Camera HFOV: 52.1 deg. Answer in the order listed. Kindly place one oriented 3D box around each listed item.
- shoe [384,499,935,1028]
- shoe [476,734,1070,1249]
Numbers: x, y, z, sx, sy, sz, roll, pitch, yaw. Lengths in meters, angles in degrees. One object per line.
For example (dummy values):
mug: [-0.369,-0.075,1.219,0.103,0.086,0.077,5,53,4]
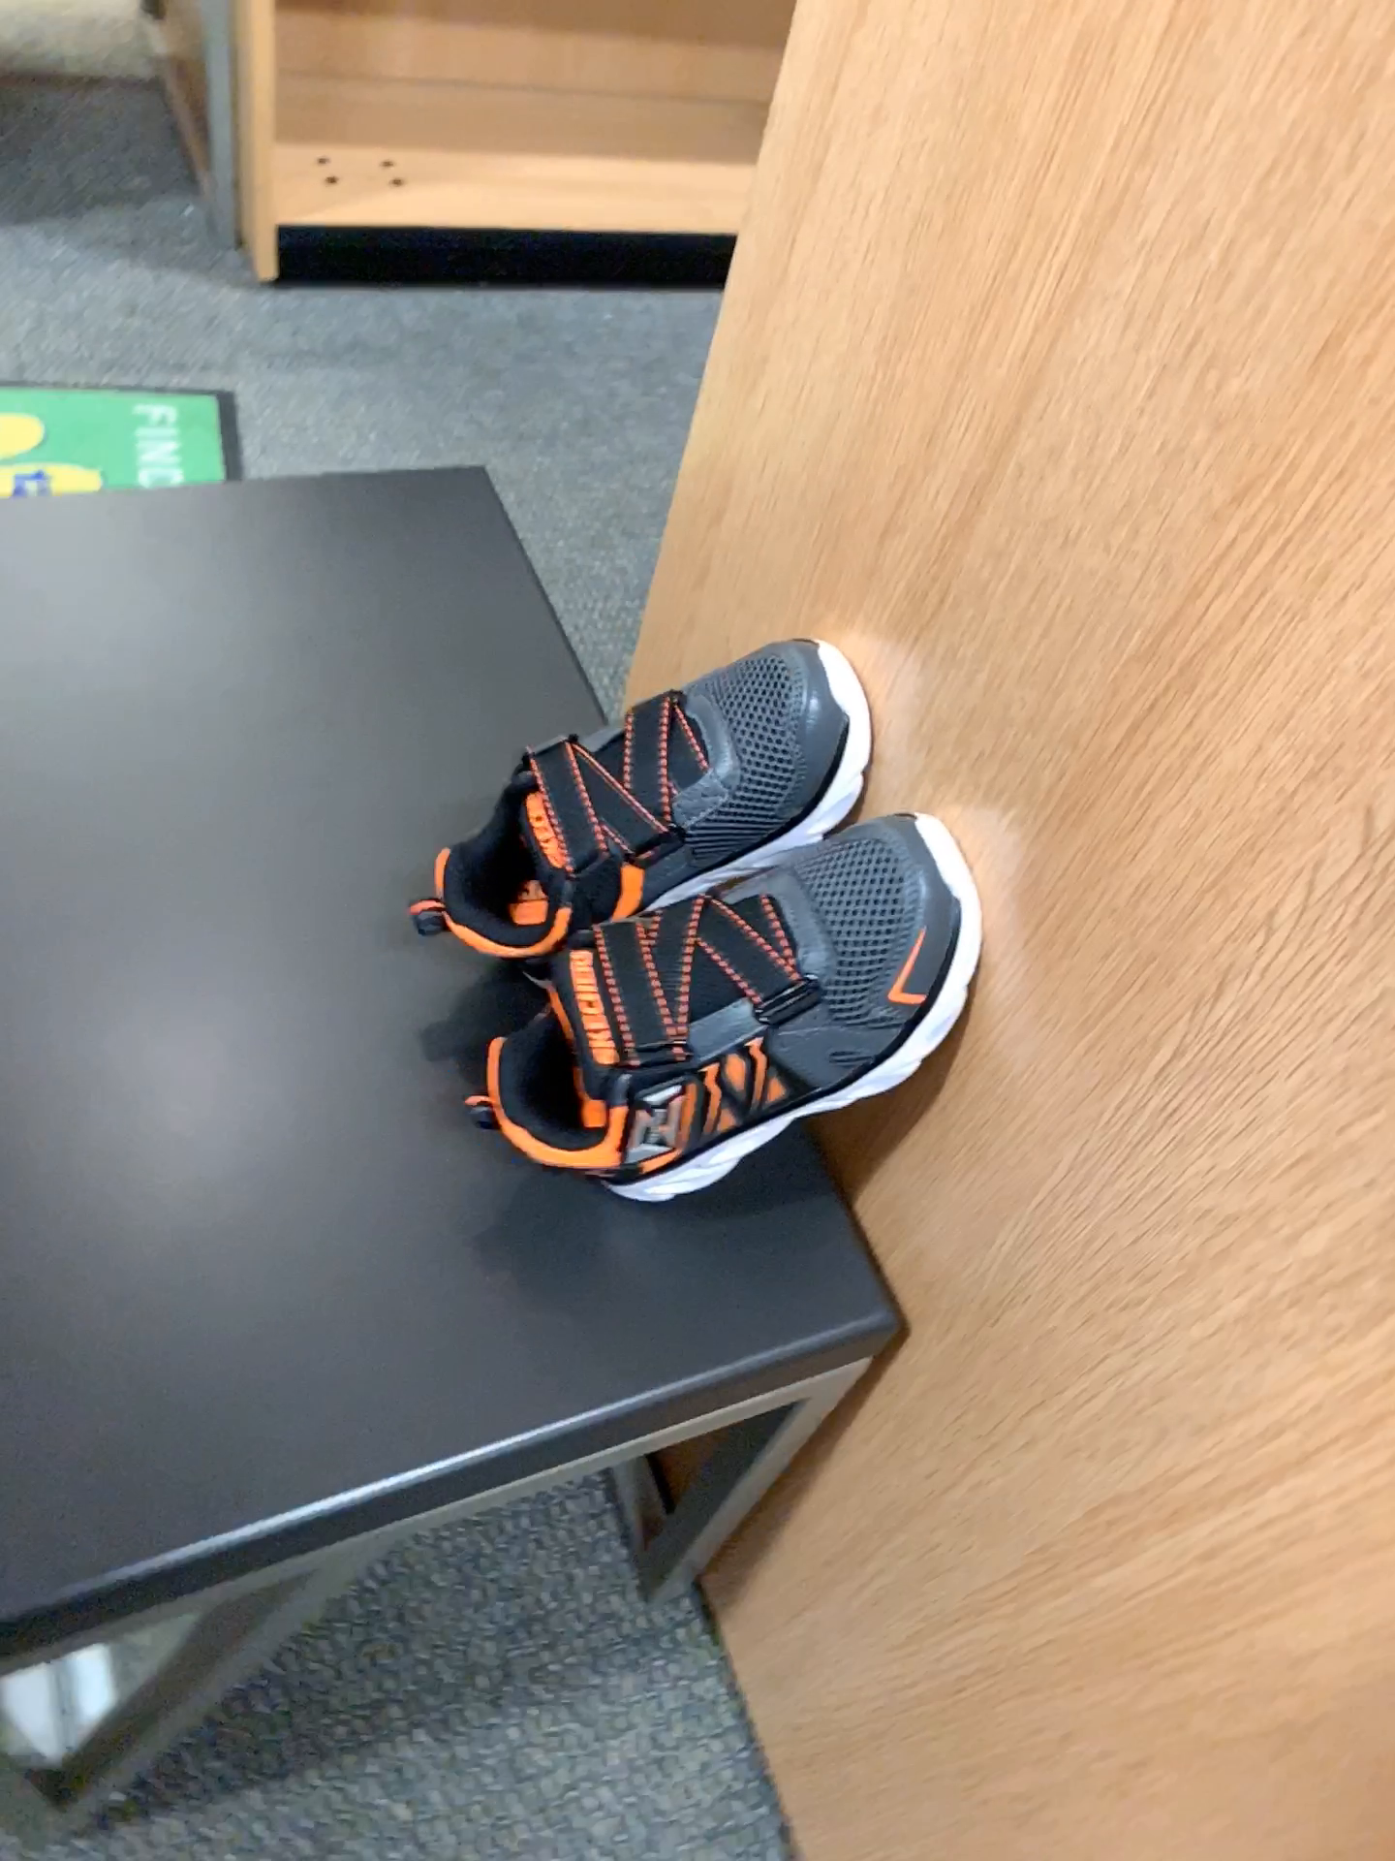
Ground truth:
shoe: [-0.020,-0.056,0.563,0.100,0.180,0.090,19,40,-47]
shoe: [0.023,0.032,0.531,0.100,0.180,0.090,19,40,-47]
